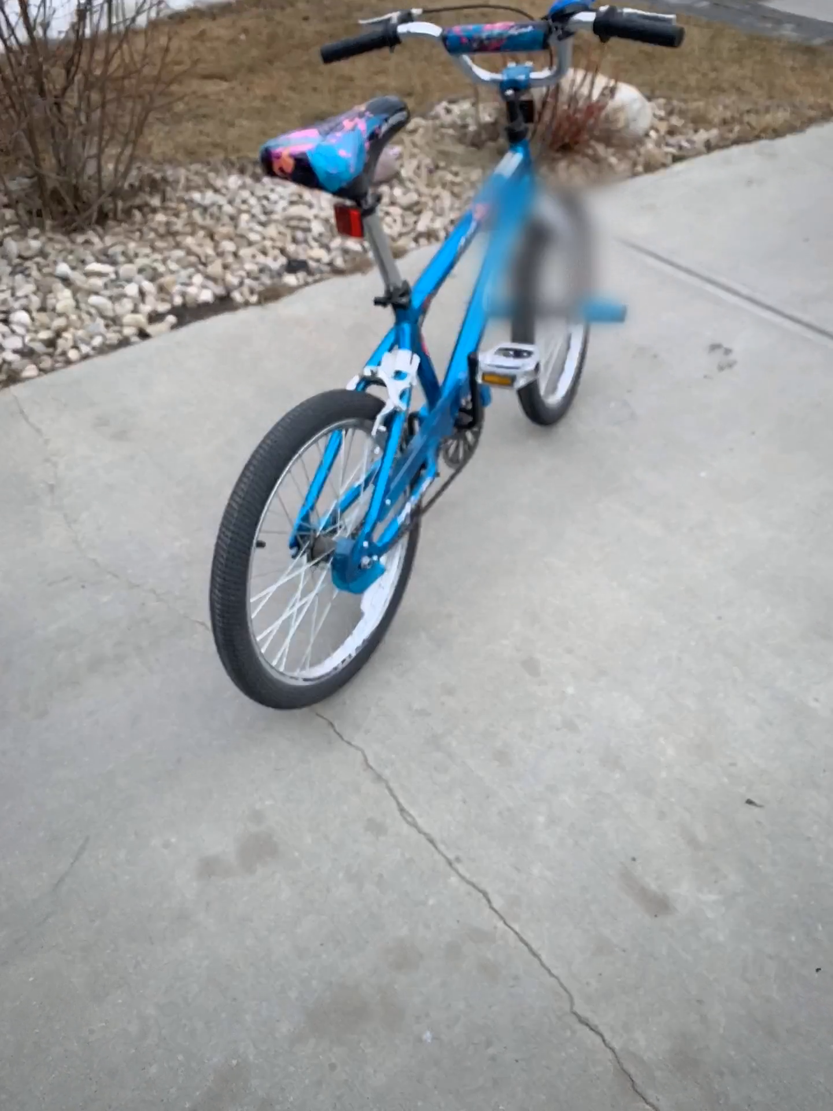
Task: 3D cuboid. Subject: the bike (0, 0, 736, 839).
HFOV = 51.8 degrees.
[{"bbox_3d":[-0.018,-0.445,1.521,0.682,0.837,1.390,19,48,19],"label":"bike"}]
